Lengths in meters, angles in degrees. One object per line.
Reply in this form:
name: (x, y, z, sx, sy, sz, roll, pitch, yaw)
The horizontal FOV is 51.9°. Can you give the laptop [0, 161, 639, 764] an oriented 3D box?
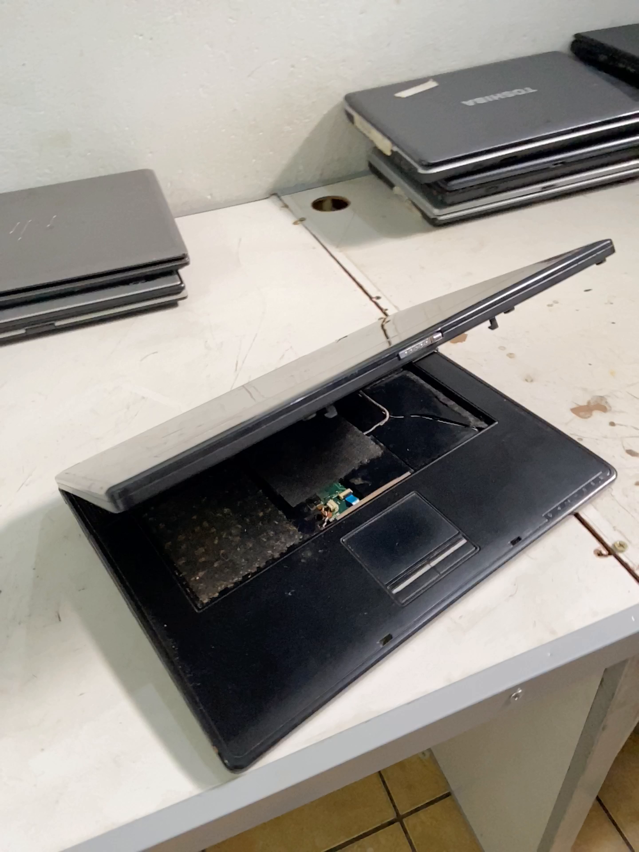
laptop: (0.007, -0.019, 0.460, 0.349, 0.164, 0.261, -28, 48, -25)
